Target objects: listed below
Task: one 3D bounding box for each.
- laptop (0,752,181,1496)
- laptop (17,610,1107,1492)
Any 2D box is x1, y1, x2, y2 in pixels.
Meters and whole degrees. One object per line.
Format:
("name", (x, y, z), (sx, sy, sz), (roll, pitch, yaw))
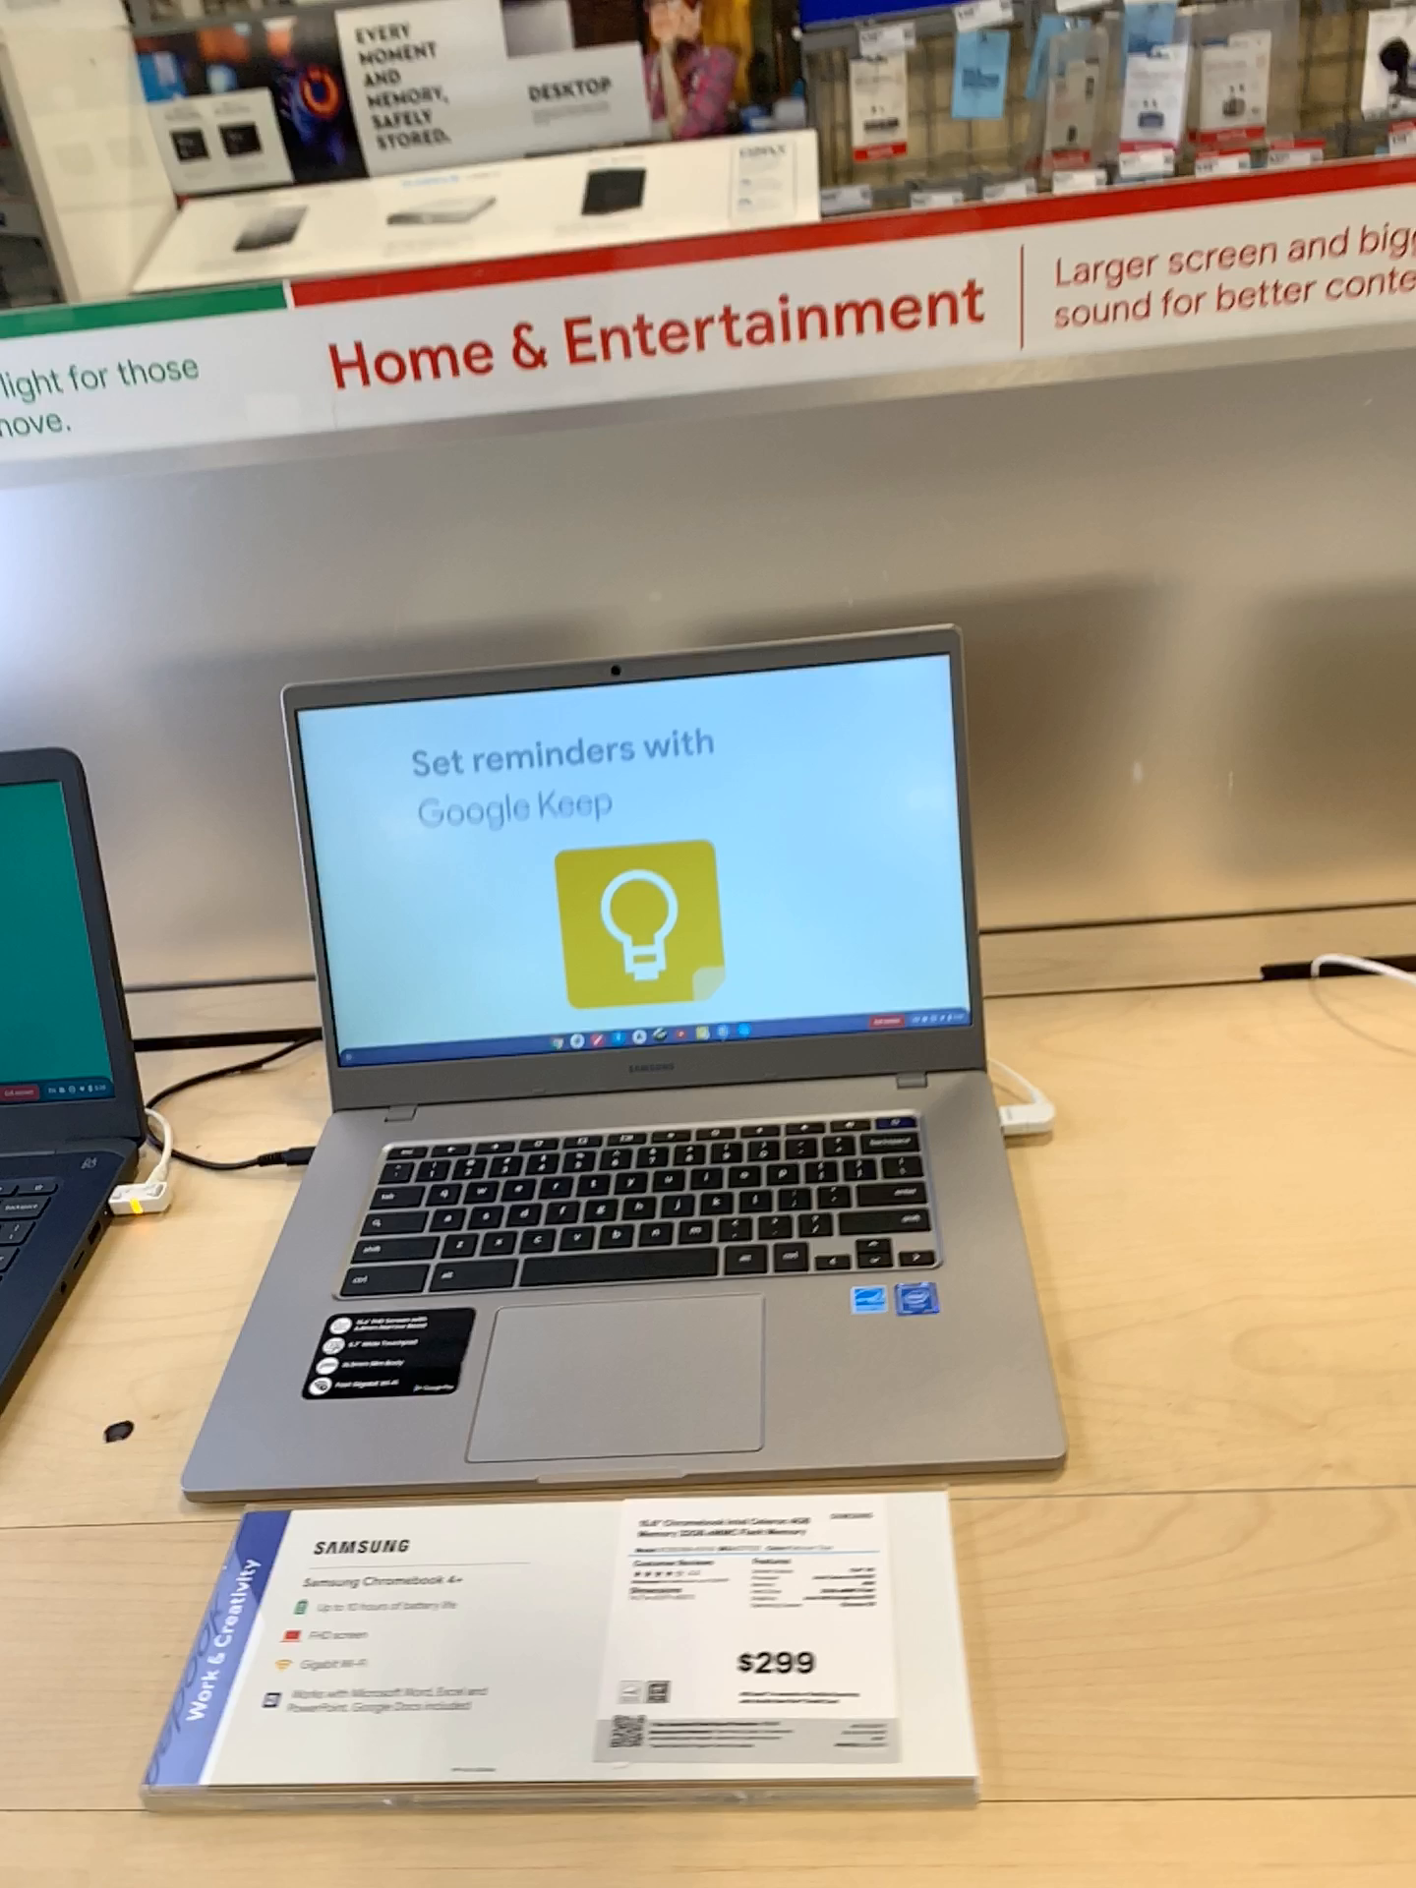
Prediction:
("laptop", (-0.477, 0.069, 0.687), (0.320, 0.193, 0.295), (-4, 31, 4))
("laptop", (-0.037, 0.026, 0.652), (0.351, 0.205, 0.339), (-4, 32, 5))
